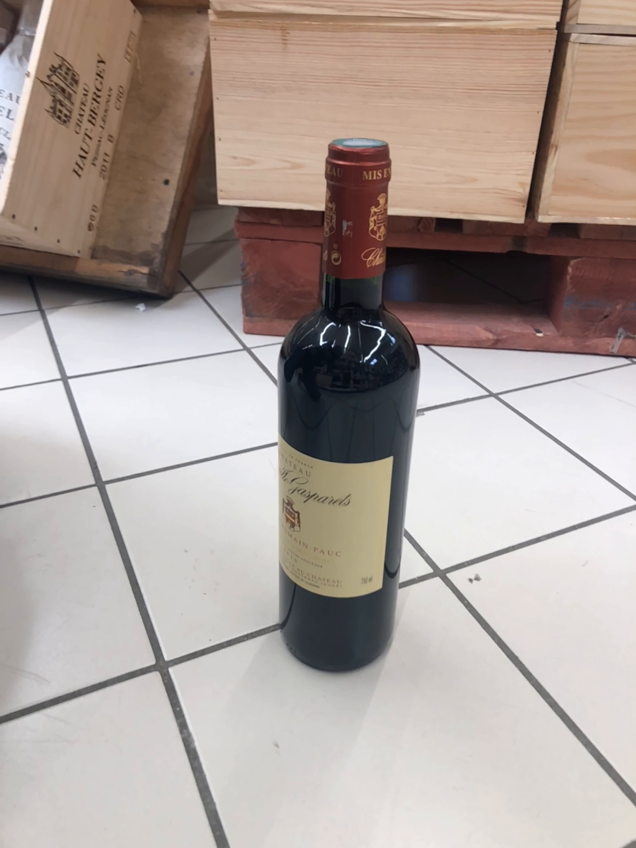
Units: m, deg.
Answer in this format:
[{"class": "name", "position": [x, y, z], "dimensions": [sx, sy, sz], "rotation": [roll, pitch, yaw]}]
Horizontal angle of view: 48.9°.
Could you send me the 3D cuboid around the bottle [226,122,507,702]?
[{"class": "bottle", "position": [0.016, 0.003, 0.374], "dimensions": [0.090, 0.288, 0.080], "rotation": [-21, 38, -34]}]
